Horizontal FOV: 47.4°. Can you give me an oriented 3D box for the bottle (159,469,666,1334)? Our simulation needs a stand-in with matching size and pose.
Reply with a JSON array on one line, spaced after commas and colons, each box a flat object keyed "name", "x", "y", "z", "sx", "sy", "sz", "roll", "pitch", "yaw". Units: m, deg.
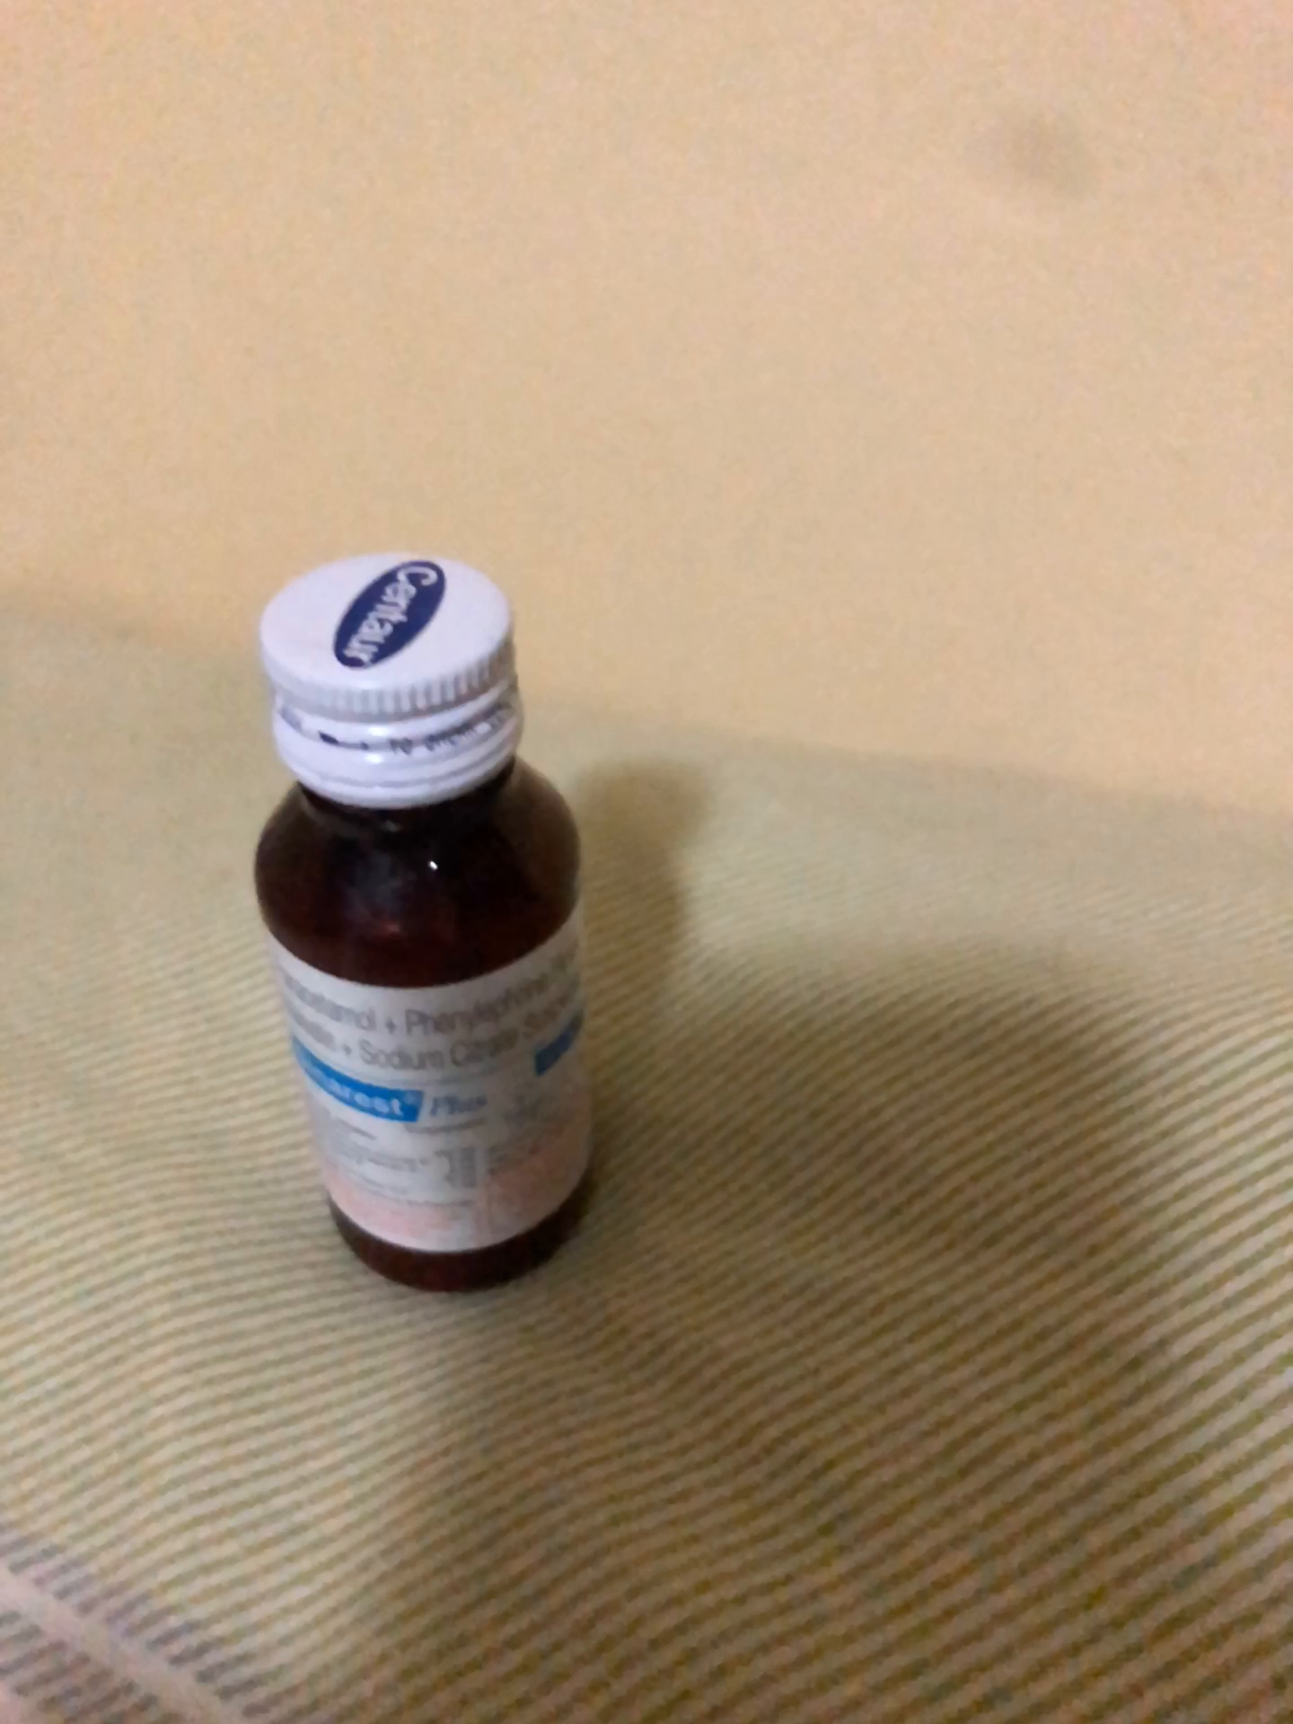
[{"name": "bottle", "x": -0.022, "y": 0.009, "z": 0.183, "sx": 0.040, "sy": 0.100, "sz": 0.040, "roll": 0, "pitch": 40, "yaw": 0}]
